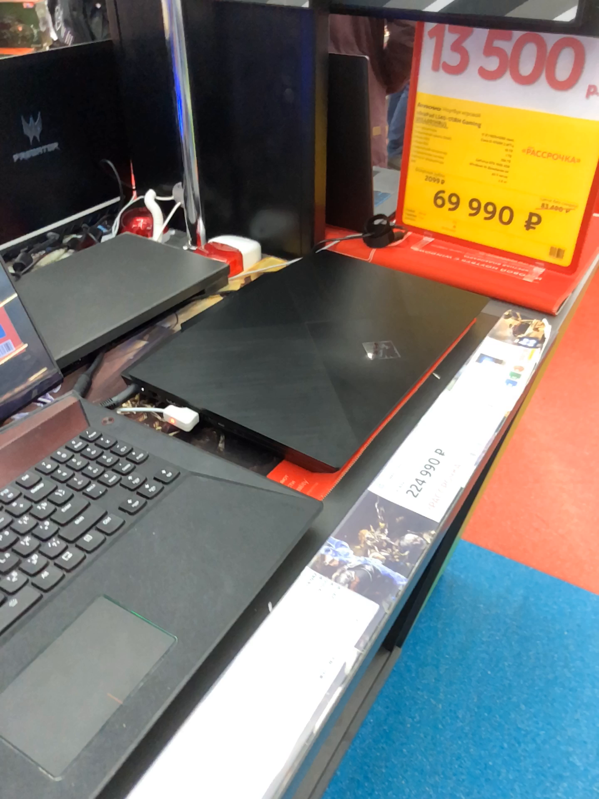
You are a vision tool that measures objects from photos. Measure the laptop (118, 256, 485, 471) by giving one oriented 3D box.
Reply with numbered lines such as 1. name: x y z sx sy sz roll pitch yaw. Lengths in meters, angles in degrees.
1. laptop: 0.026 -0.074 0.775 0.261 0.002 0.399 20 39 25
